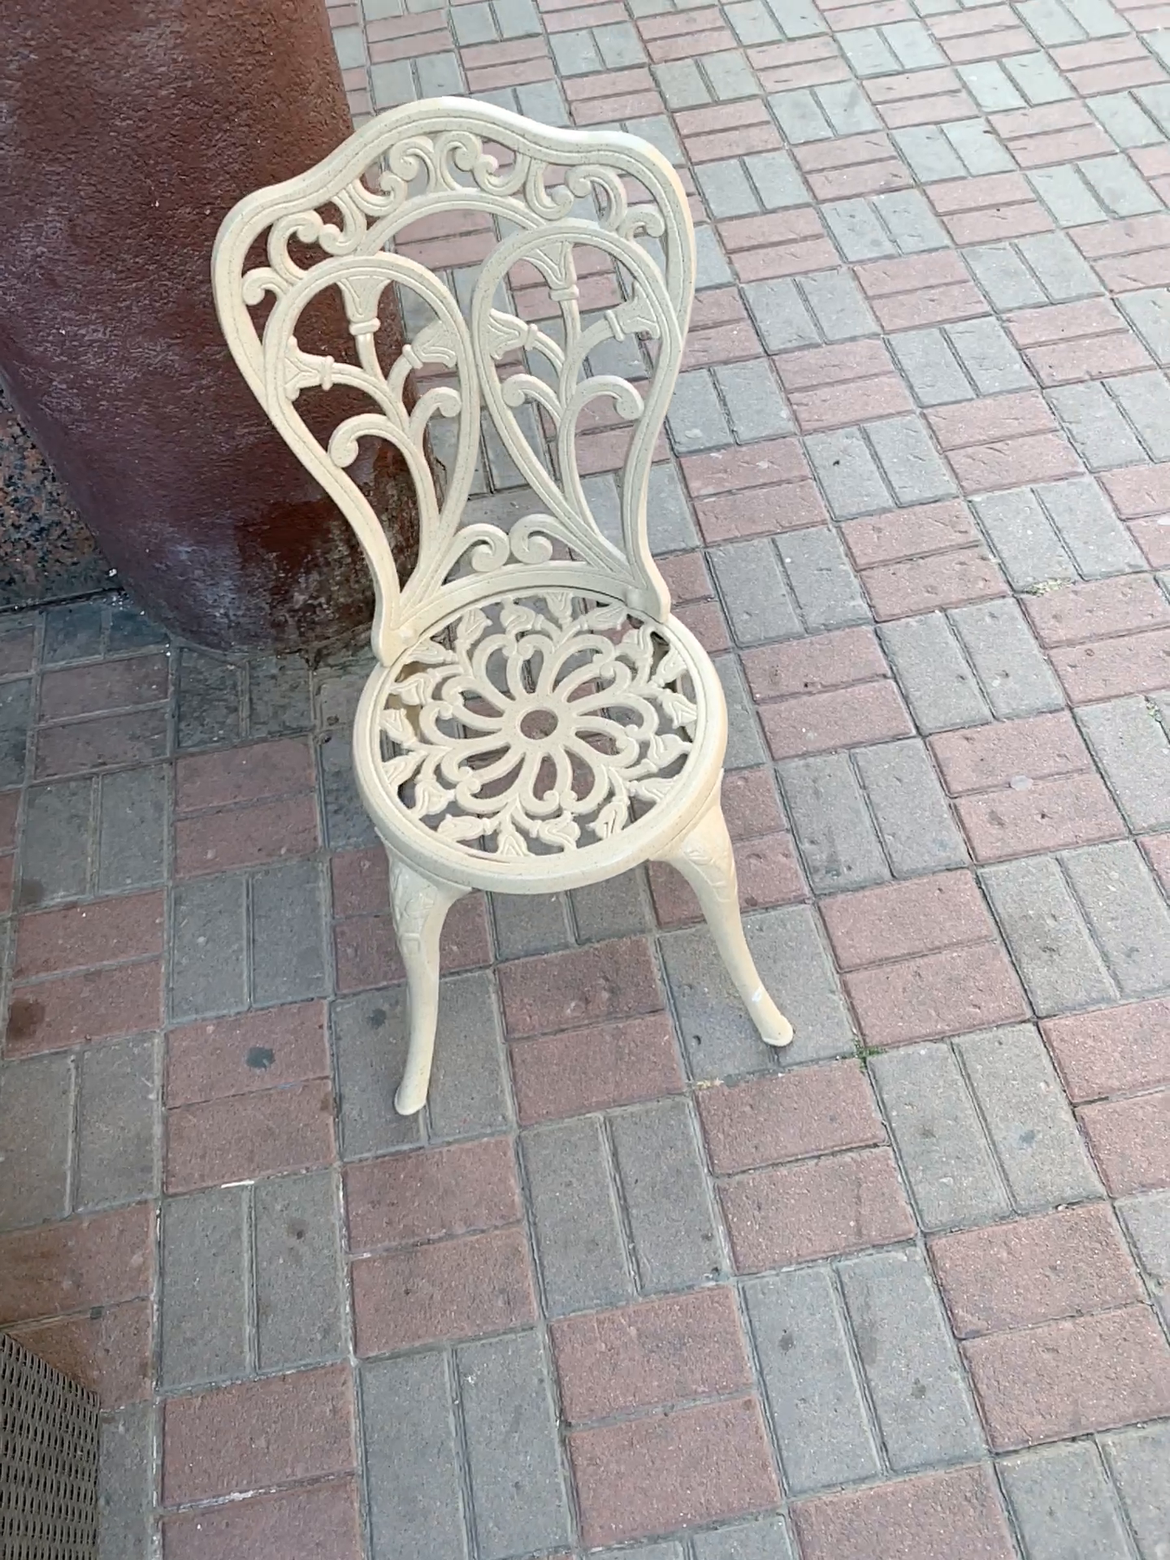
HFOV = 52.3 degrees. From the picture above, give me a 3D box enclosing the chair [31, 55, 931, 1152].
[{"bbox_3d":[-0.062,-0.087,1.112,0.480,0.798,0.552,-10,56,-1],"label":"chair"}]
